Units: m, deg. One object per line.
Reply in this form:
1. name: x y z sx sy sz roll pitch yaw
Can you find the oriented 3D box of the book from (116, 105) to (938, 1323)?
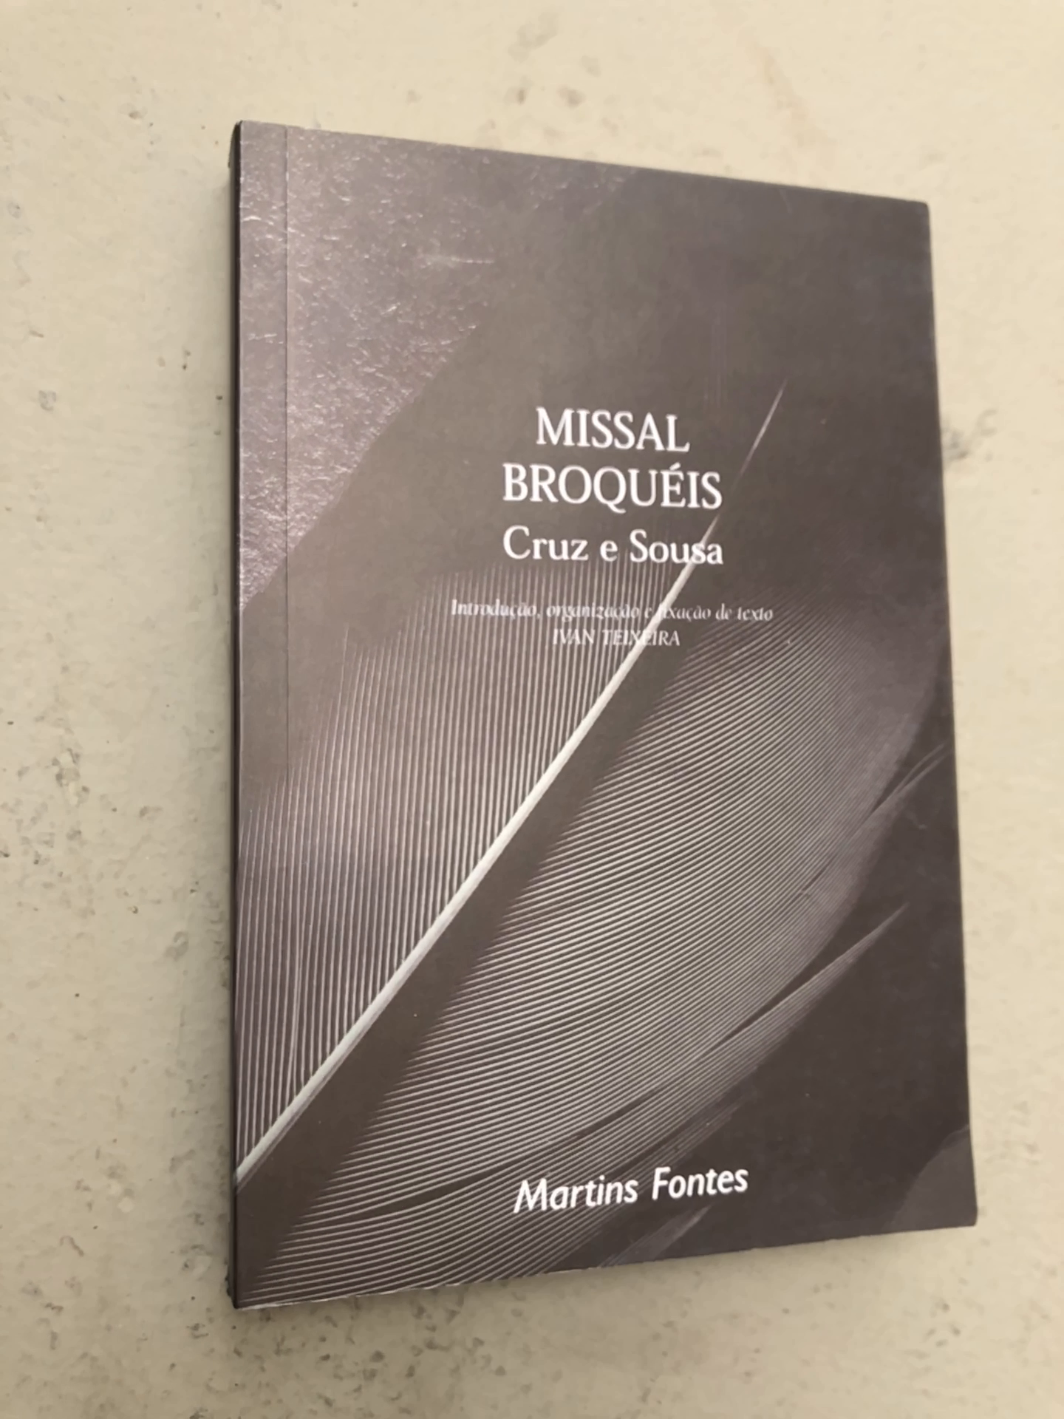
1. book: 0.001 -0.002 0.194 0.128 0.016 0.173 0 86 -15
